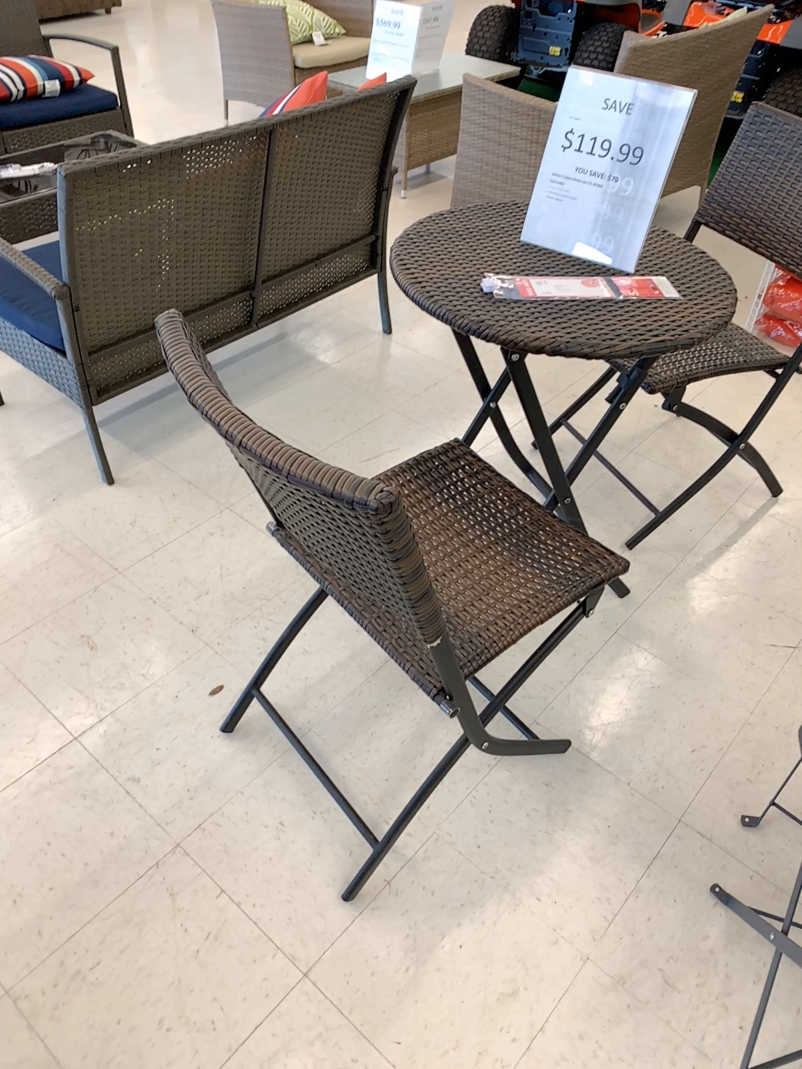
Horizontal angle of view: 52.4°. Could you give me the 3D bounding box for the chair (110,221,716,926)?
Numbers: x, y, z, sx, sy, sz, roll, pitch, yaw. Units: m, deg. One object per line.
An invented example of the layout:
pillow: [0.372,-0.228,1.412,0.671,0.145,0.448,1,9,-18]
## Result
chair: [-0.005,0.055,1.194,0.511,0.766,0.482,-27,49,-29]
